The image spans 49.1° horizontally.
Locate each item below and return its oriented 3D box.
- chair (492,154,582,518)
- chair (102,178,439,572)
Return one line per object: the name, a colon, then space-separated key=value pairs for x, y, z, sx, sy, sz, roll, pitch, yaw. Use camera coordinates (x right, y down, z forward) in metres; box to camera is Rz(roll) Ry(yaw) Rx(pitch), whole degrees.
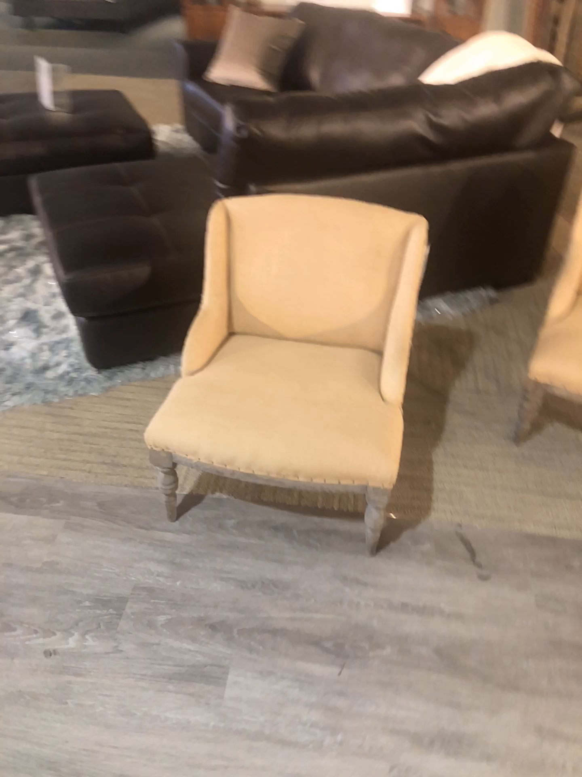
chair: x=1.013 y=-0.198 z=1.800 sx=0.627 sy=0.625 sz=0.722 roll=16 pitch=39 yaw=19
chair: x=0.007 y=-0.066 z=1.651 sx=0.636 sy=0.685 sz=0.672 roll=7 pitch=37 yaw=8
